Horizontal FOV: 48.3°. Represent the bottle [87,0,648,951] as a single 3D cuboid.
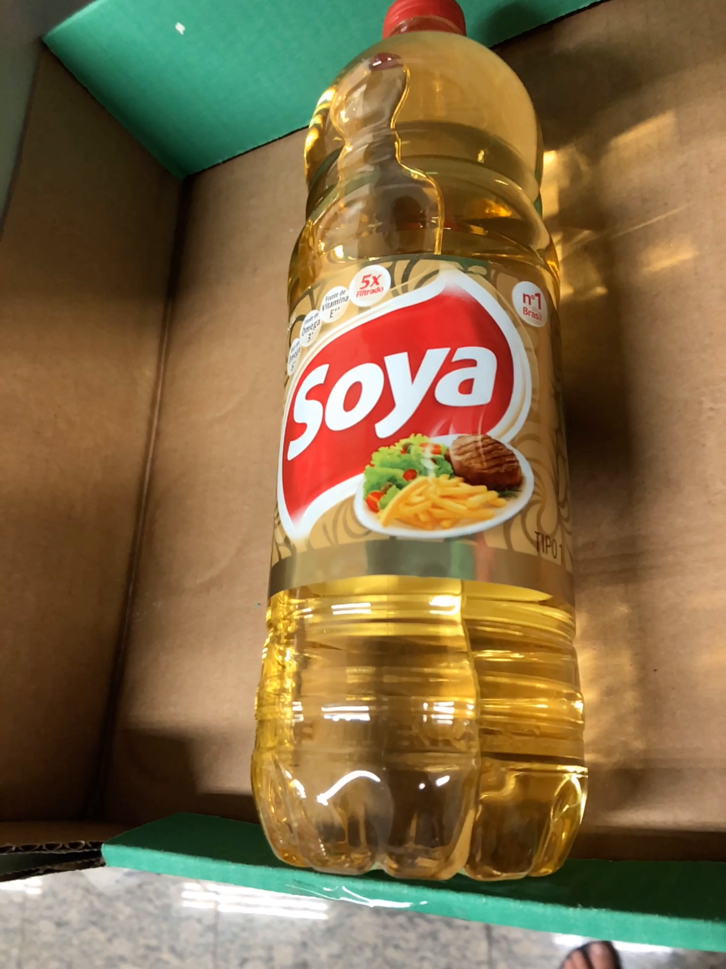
[{"bbox_3d":[0.007,-0.027,0.182,0.080,0.070,0.210,-8,70,28],"label":"bottle"}]
